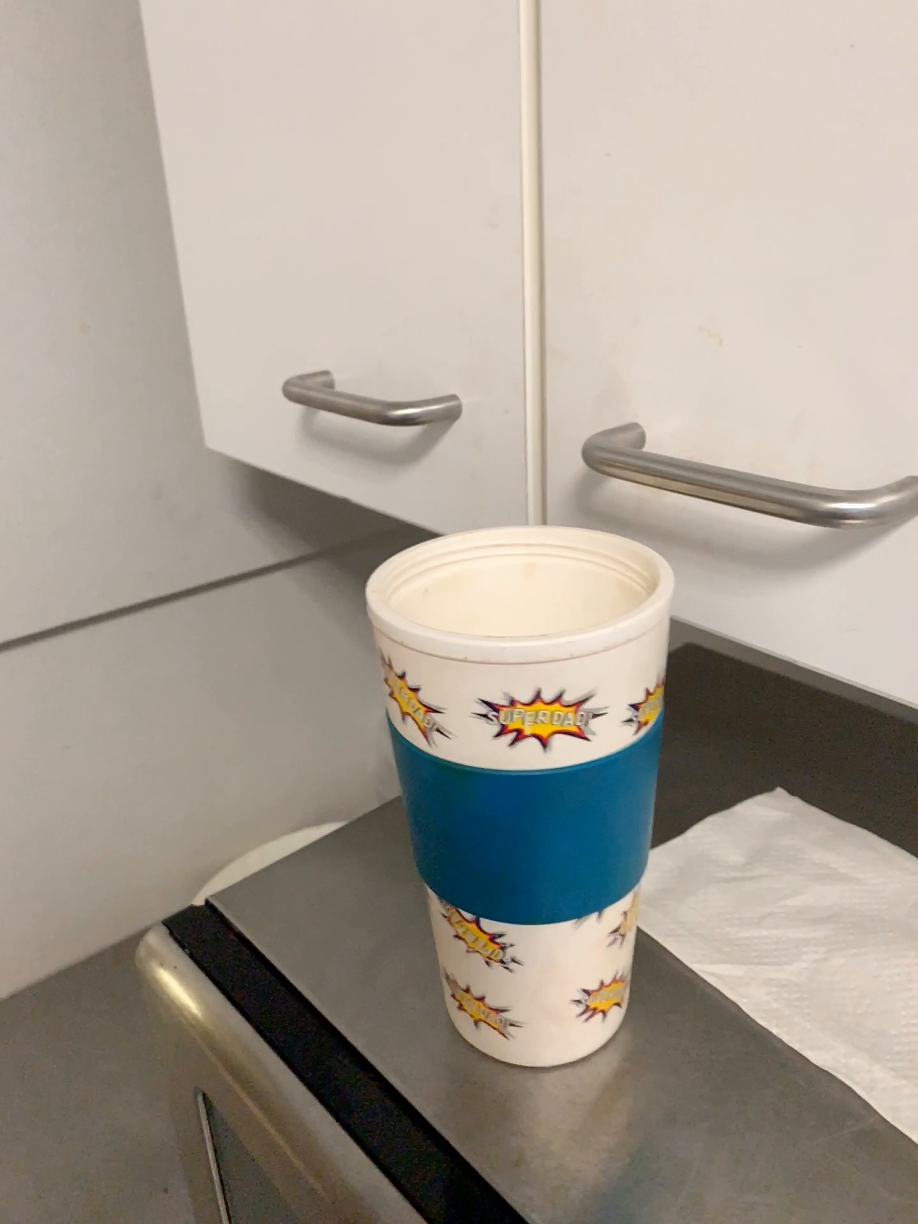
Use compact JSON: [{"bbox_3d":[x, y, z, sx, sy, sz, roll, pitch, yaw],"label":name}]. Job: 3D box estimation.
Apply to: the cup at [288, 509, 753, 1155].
[{"bbox_3d":[0.020,0.058,0.300,0.097,0.146,0.093,-2,22,1],"label":"cup"}]
